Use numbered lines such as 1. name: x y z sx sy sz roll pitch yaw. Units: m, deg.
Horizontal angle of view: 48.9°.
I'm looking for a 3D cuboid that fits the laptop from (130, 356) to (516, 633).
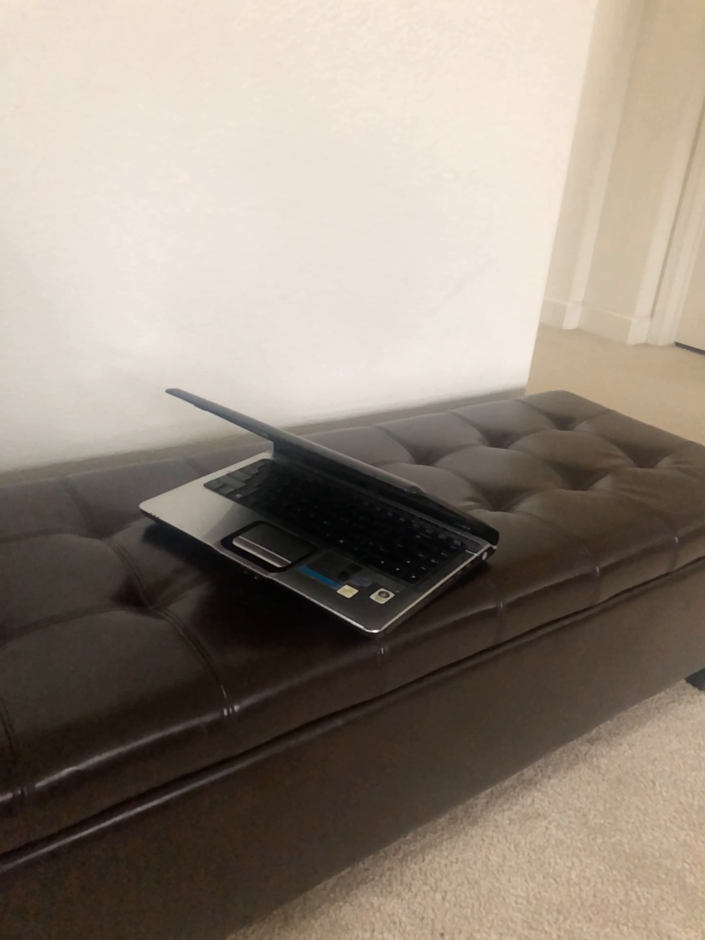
1. laptop: -0.036 -0.002 0.815 0.333 0.122 0.230 22 29 32
